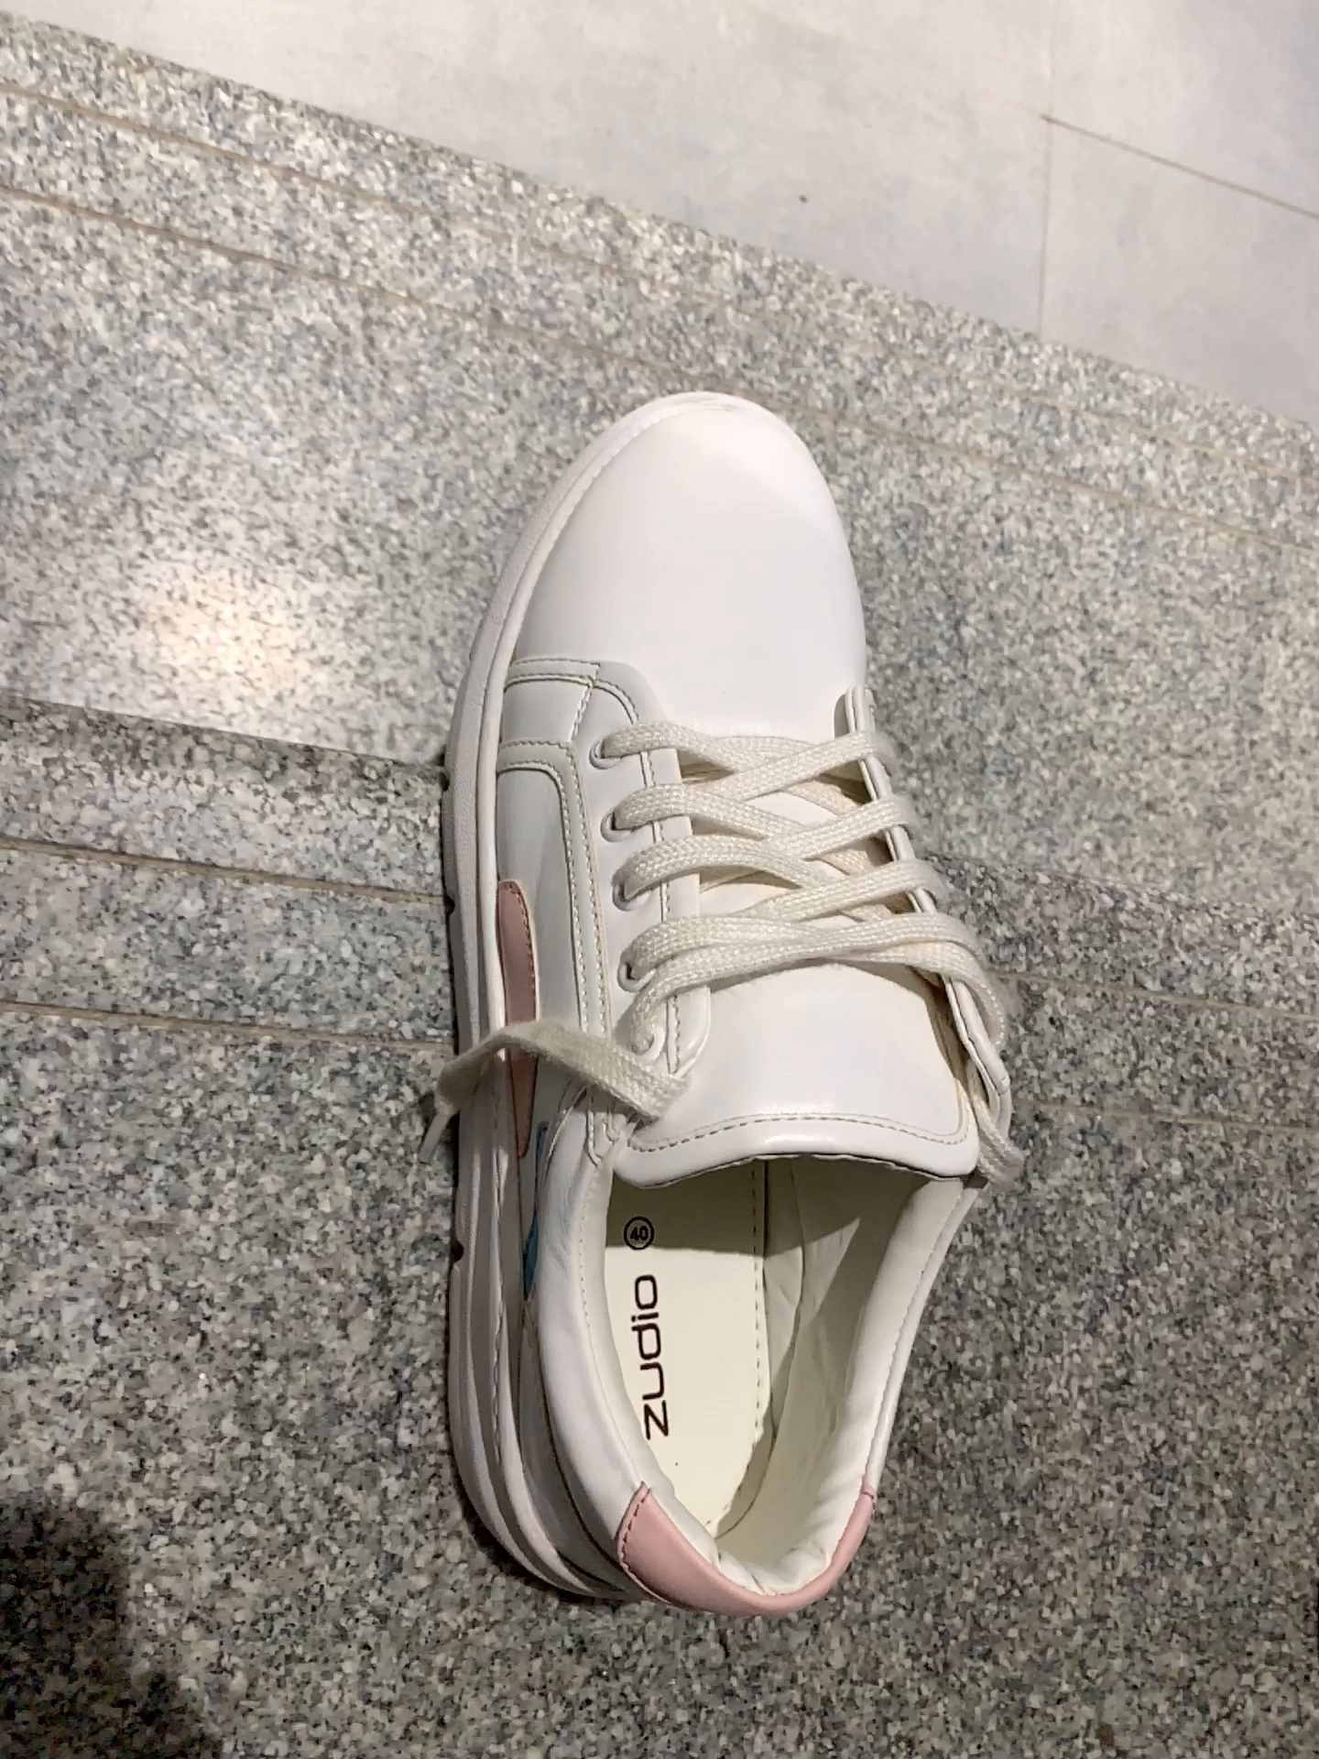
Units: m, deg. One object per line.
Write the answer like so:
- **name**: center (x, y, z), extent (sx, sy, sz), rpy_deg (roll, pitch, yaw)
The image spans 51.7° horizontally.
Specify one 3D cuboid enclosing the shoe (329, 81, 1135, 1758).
- **shoe**: center (0.010, 0.021, 0.280), extent (0.110, 0.110, 0.290), rpy_deg (7, 82, -19)
